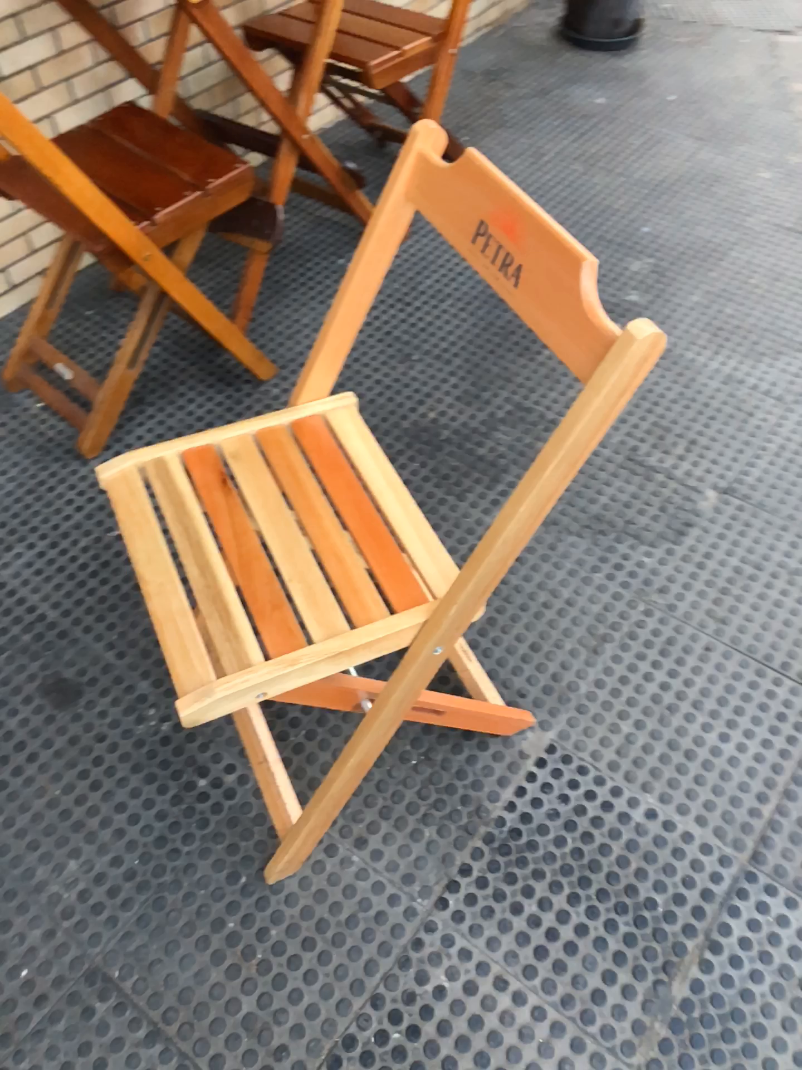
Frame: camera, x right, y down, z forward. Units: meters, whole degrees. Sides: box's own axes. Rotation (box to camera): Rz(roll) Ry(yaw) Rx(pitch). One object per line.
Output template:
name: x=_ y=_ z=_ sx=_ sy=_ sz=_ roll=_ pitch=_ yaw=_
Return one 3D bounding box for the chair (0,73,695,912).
chair: x=-0.091 y=-0.015 z=1.048 sx=0.501 sy=0.755 sz=0.482 roll=-20 pitch=52 yaw=-15
